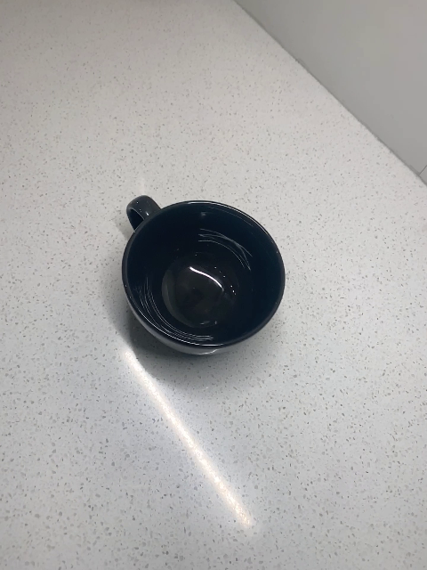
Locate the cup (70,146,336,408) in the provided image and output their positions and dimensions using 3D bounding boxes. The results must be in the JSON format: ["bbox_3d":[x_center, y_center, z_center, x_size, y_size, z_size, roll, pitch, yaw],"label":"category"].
[{"bbox_3d":[-0.010,-0.009,0.300,0.110,0.060,0.130,-32,73,-21],"label":"cup"}]
